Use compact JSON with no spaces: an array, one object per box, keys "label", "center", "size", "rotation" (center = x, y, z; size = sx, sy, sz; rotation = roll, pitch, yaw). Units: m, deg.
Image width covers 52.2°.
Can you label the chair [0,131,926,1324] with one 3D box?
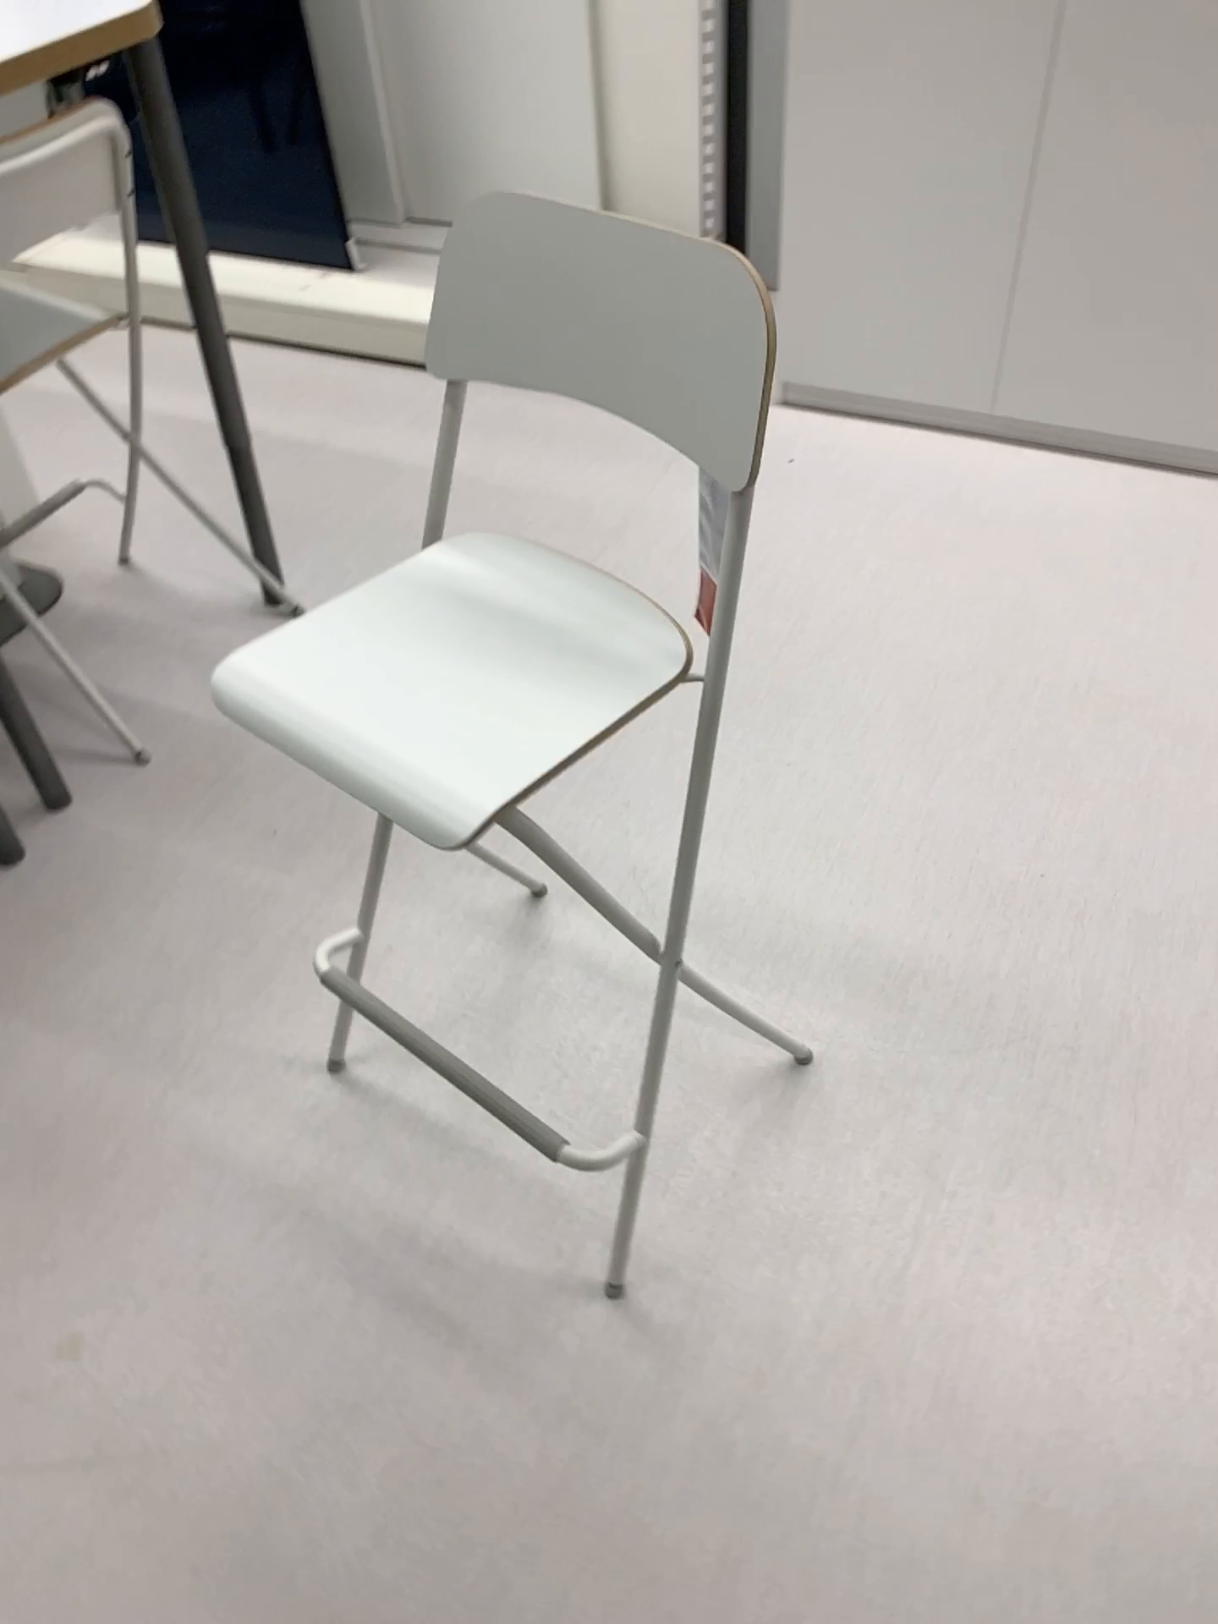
[{"label":"chair","center":[-0.106,-0.045,1.227],"size":[0.521,0.936,0.501],"rotation":[30,54,29]}]
